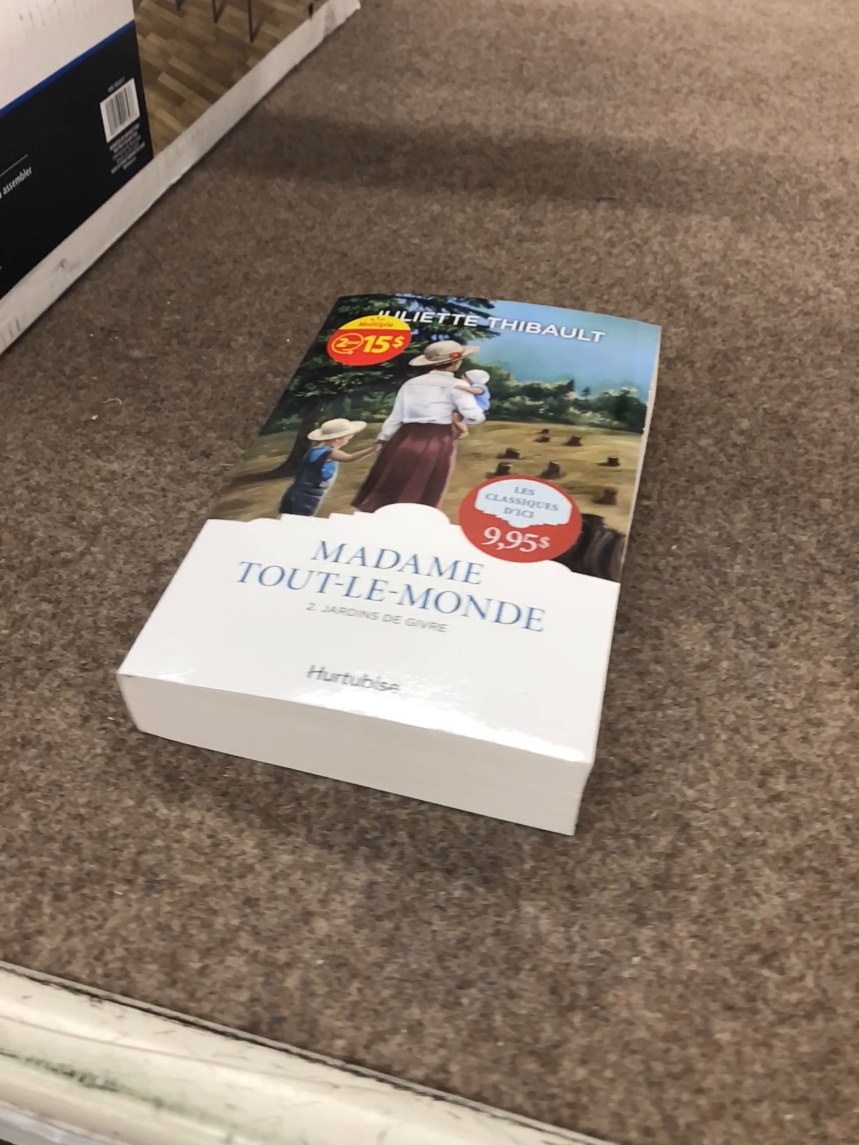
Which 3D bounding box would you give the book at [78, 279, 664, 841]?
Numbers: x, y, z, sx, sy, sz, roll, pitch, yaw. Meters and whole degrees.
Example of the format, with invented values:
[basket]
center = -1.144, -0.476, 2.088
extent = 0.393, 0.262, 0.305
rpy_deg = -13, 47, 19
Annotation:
[book]
center = -0.004, -0.025, 0.372
extent = 0.160, 0.050, 0.223
rpy_deg = 9, 50, 13
